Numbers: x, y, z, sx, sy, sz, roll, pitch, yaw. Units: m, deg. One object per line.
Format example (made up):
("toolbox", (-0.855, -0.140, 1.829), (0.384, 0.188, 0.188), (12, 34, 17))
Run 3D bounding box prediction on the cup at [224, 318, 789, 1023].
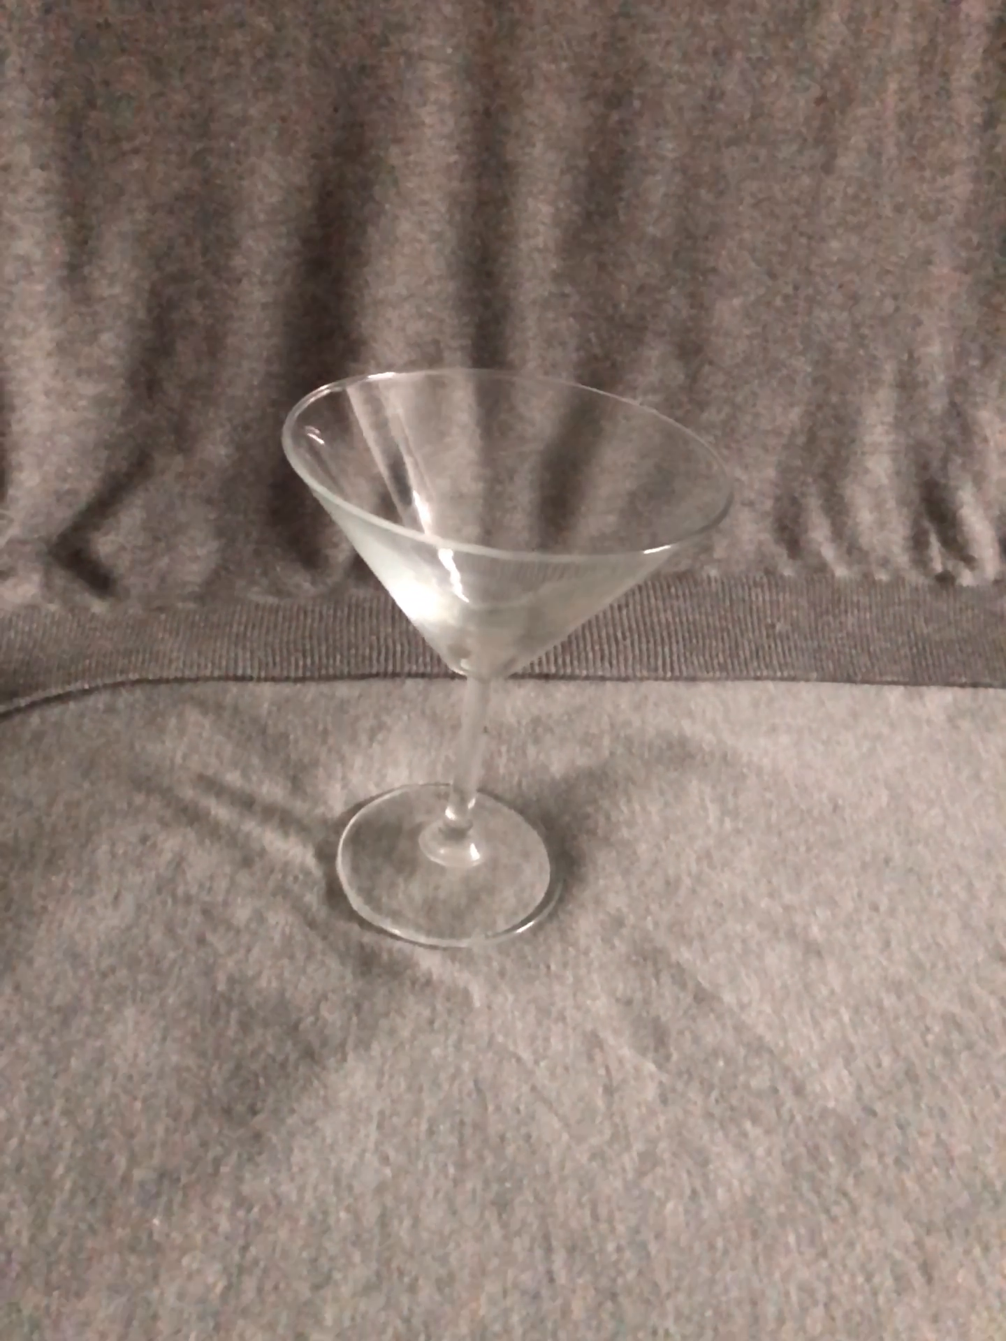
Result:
("cup", (-0.012, 0.003, 0.321), (0.113, 0.157, 0.112), (9, 36, -6))
